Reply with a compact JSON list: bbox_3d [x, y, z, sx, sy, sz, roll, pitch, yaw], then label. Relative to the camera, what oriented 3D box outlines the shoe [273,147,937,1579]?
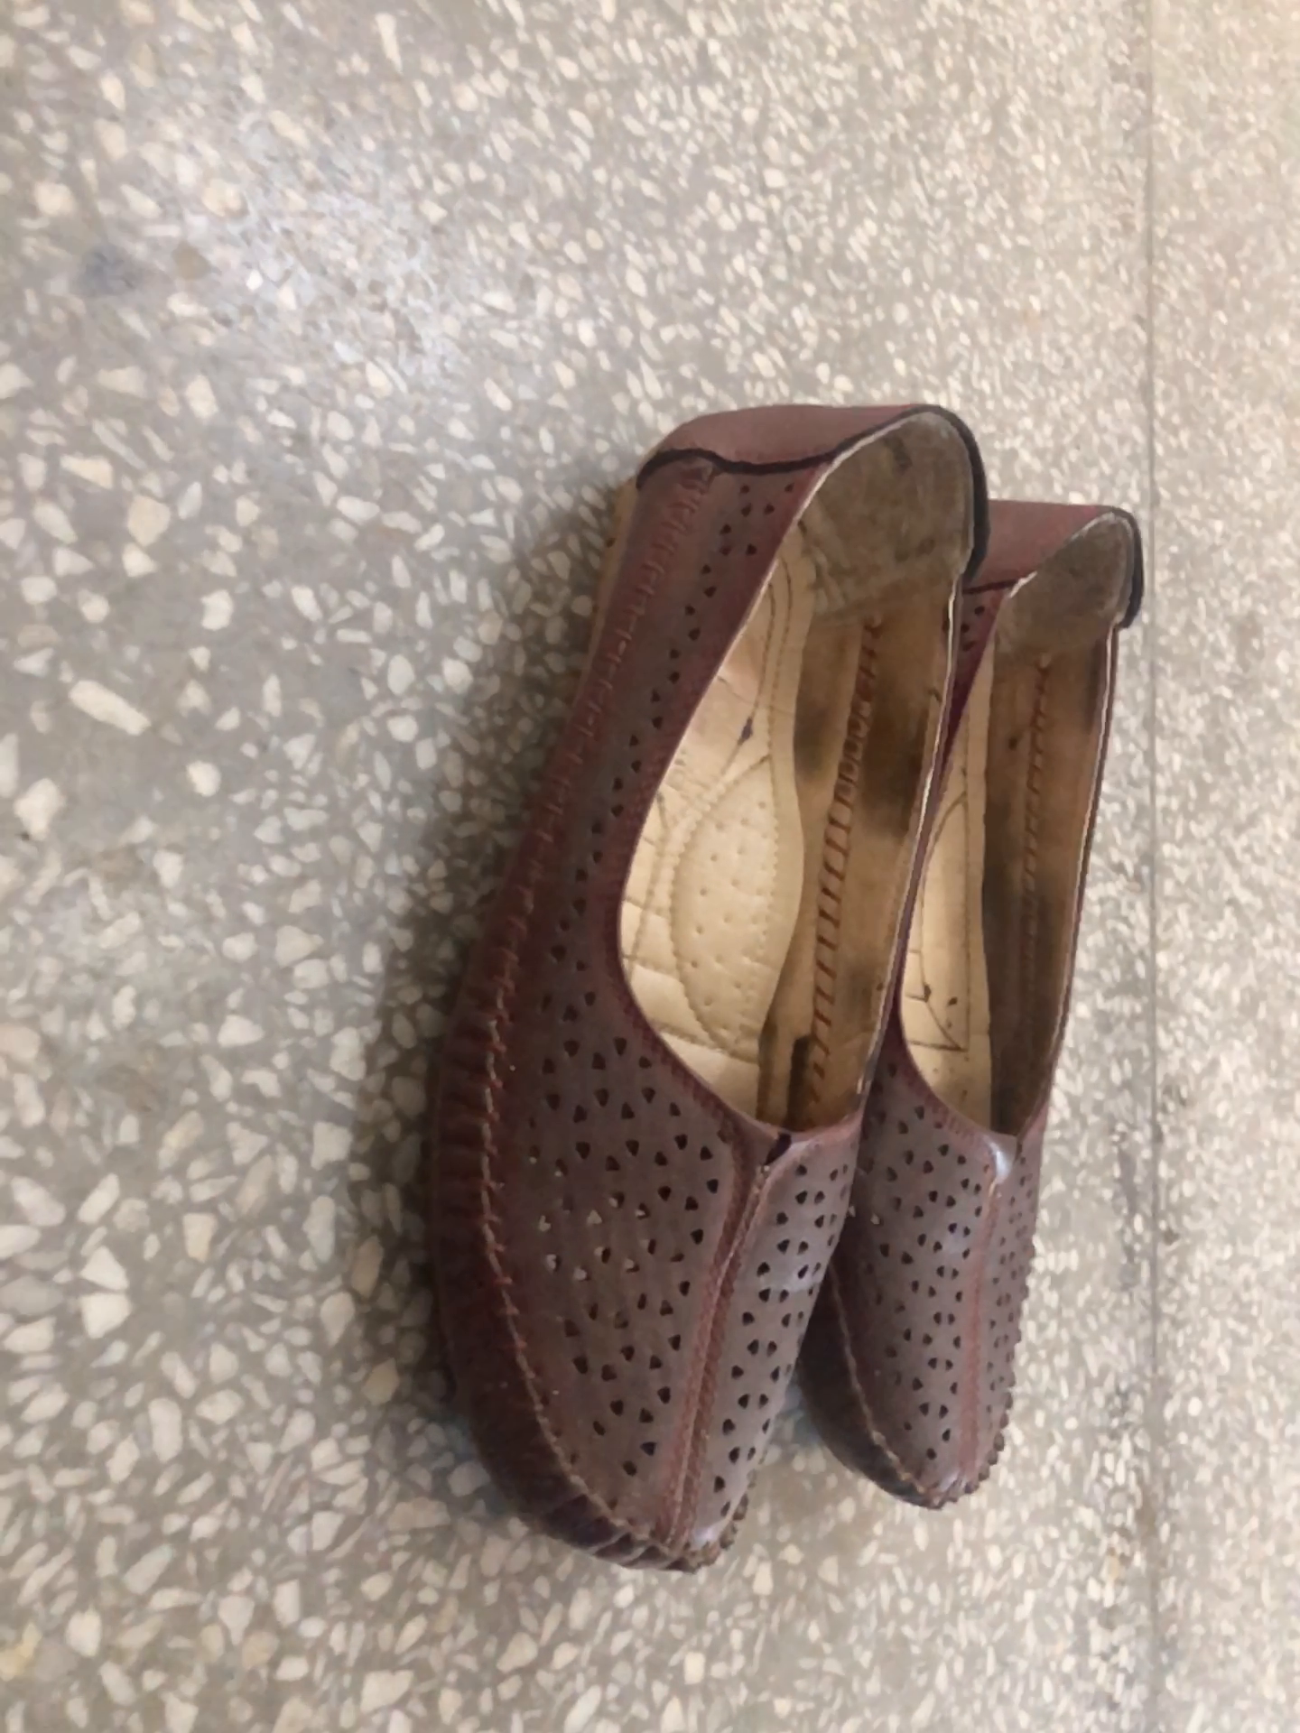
[{"bbox_3d":[0.002,-0.002,0.290,0.091,0.060,0.250,21,67,-41],"label":"shoe"}]

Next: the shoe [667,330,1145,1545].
[{"bbox_3d":[0.064,0.015,0.341,0.091,0.060,0.250,17,70,-42],"label":"shoe"}]
